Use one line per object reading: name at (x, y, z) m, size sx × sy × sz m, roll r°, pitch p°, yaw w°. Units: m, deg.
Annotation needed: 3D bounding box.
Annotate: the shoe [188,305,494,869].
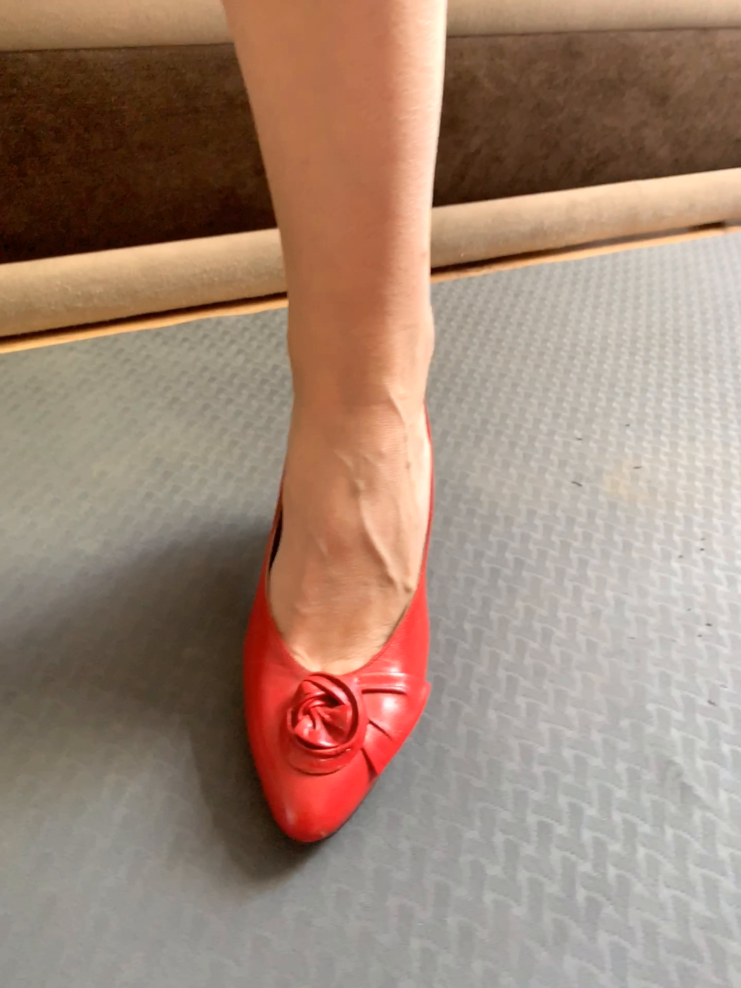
shoe at (-0.008, 0.021, 0.316) m, size 0.080 × 0.109 × 0.211 m, roll 3°, pitch 39°, yaw -1°
